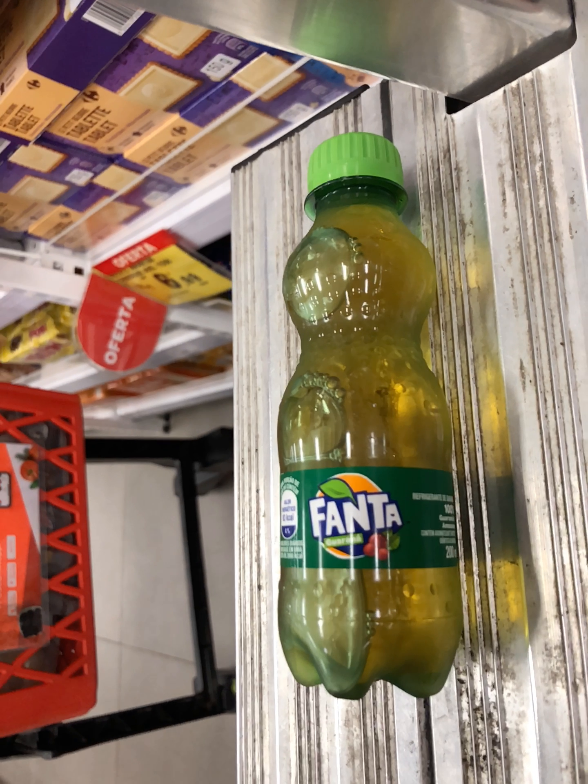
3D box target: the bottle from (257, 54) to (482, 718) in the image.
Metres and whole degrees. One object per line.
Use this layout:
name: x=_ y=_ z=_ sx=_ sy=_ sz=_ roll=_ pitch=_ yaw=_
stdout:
bottle: x=0.018 y=-0.006 z=0.189 sx=0.050 sy=0.050 sz=0.170 roll=80 pitch=-170 yaw=-77
